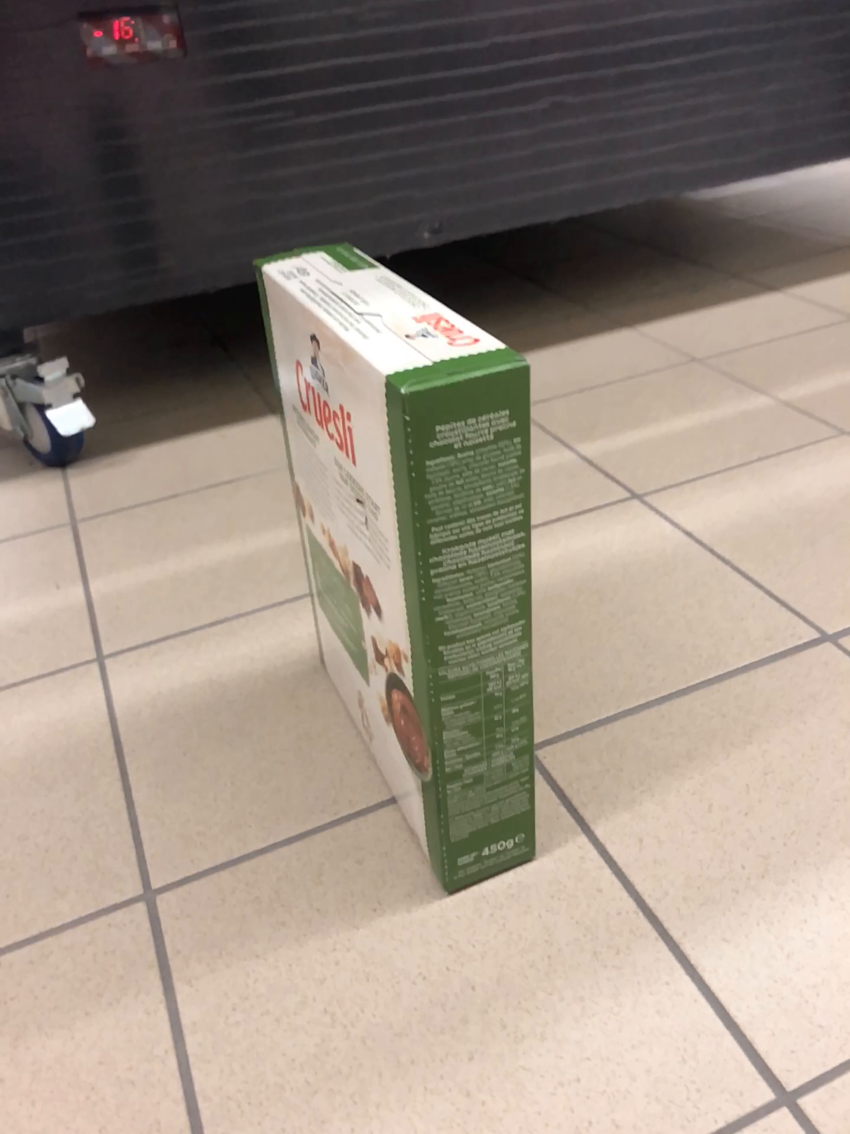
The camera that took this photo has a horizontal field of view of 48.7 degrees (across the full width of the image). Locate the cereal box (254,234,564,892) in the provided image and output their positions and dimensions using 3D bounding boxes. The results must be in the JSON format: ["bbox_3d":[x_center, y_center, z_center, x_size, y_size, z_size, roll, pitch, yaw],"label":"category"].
[{"bbox_3d":[-0.008,-0.009,0.438,0.060,0.239,0.191,-16,34,-16],"label":"cereal box"}]
